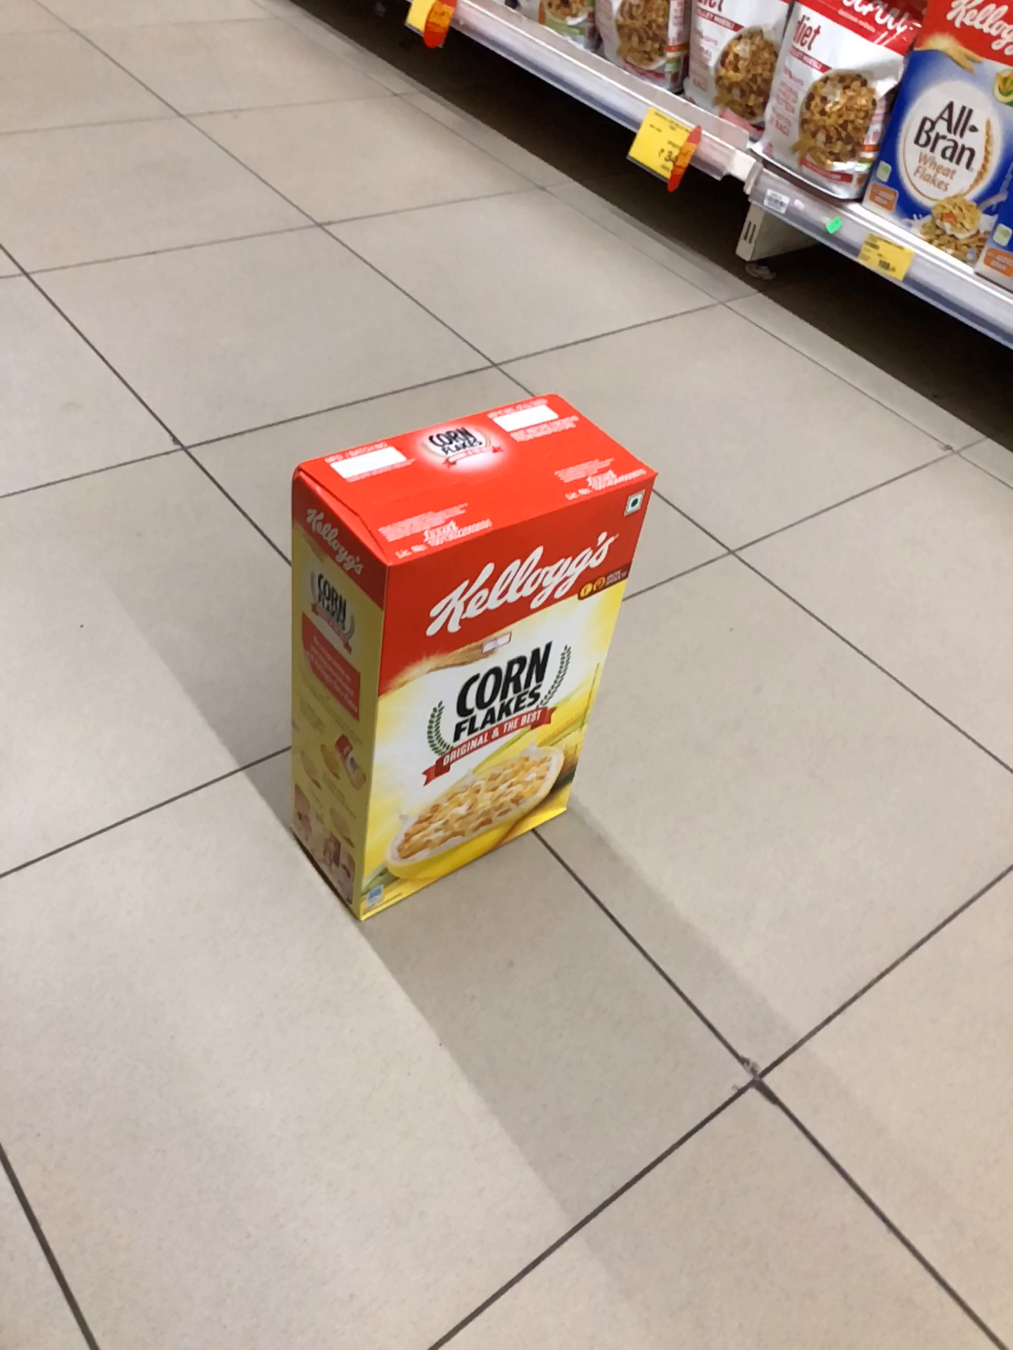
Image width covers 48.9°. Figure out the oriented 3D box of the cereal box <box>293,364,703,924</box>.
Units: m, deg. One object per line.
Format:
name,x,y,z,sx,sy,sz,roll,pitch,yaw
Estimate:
cereal box,-0.021,-0.012,0.712,0.201,0.318,0.100,-24,54,-31
